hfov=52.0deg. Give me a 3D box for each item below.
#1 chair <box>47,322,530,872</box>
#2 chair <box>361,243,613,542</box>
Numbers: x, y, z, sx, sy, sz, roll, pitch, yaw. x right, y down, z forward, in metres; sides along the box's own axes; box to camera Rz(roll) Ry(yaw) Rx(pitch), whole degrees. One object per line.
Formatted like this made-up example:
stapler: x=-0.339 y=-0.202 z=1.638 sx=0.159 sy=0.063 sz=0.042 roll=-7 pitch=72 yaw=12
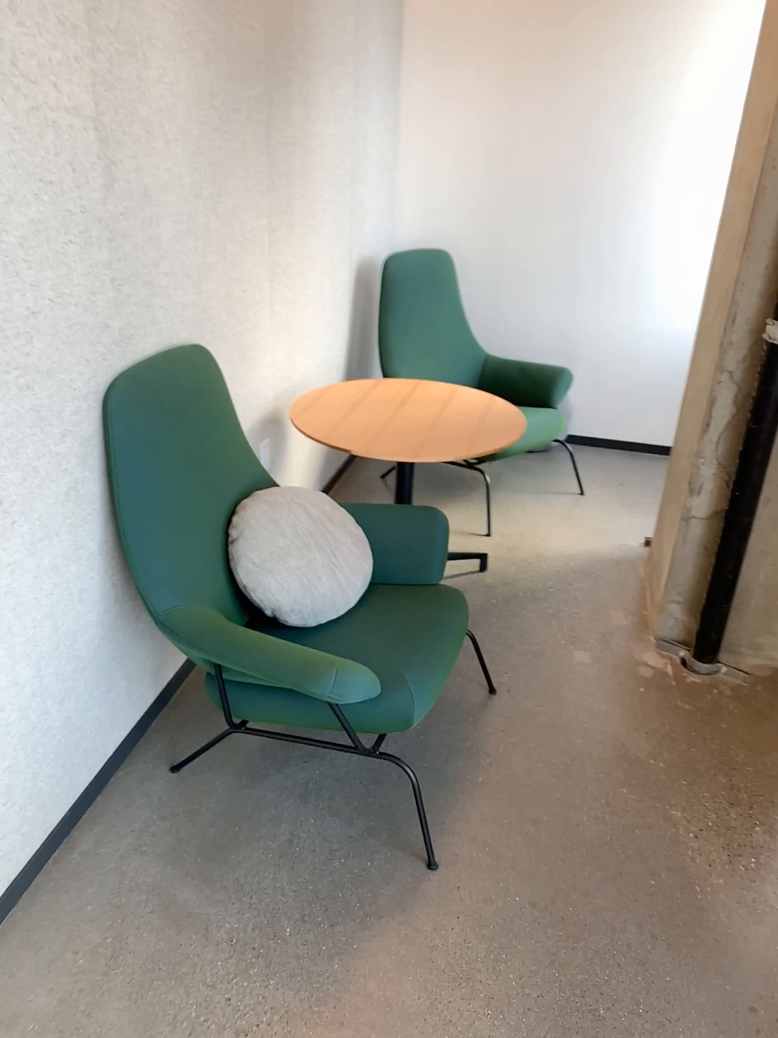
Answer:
chair: x=-0.174 y=0.123 z=1.984 sx=0.841 sy=0.994 sz=0.724 roll=9 pitch=27 yaw=16
chair: x=0.381 y=-0.584 z=3.413 sx=0.651 sy=1.014 sz=0.753 roll=-21 pitch=33 yaw=-39
